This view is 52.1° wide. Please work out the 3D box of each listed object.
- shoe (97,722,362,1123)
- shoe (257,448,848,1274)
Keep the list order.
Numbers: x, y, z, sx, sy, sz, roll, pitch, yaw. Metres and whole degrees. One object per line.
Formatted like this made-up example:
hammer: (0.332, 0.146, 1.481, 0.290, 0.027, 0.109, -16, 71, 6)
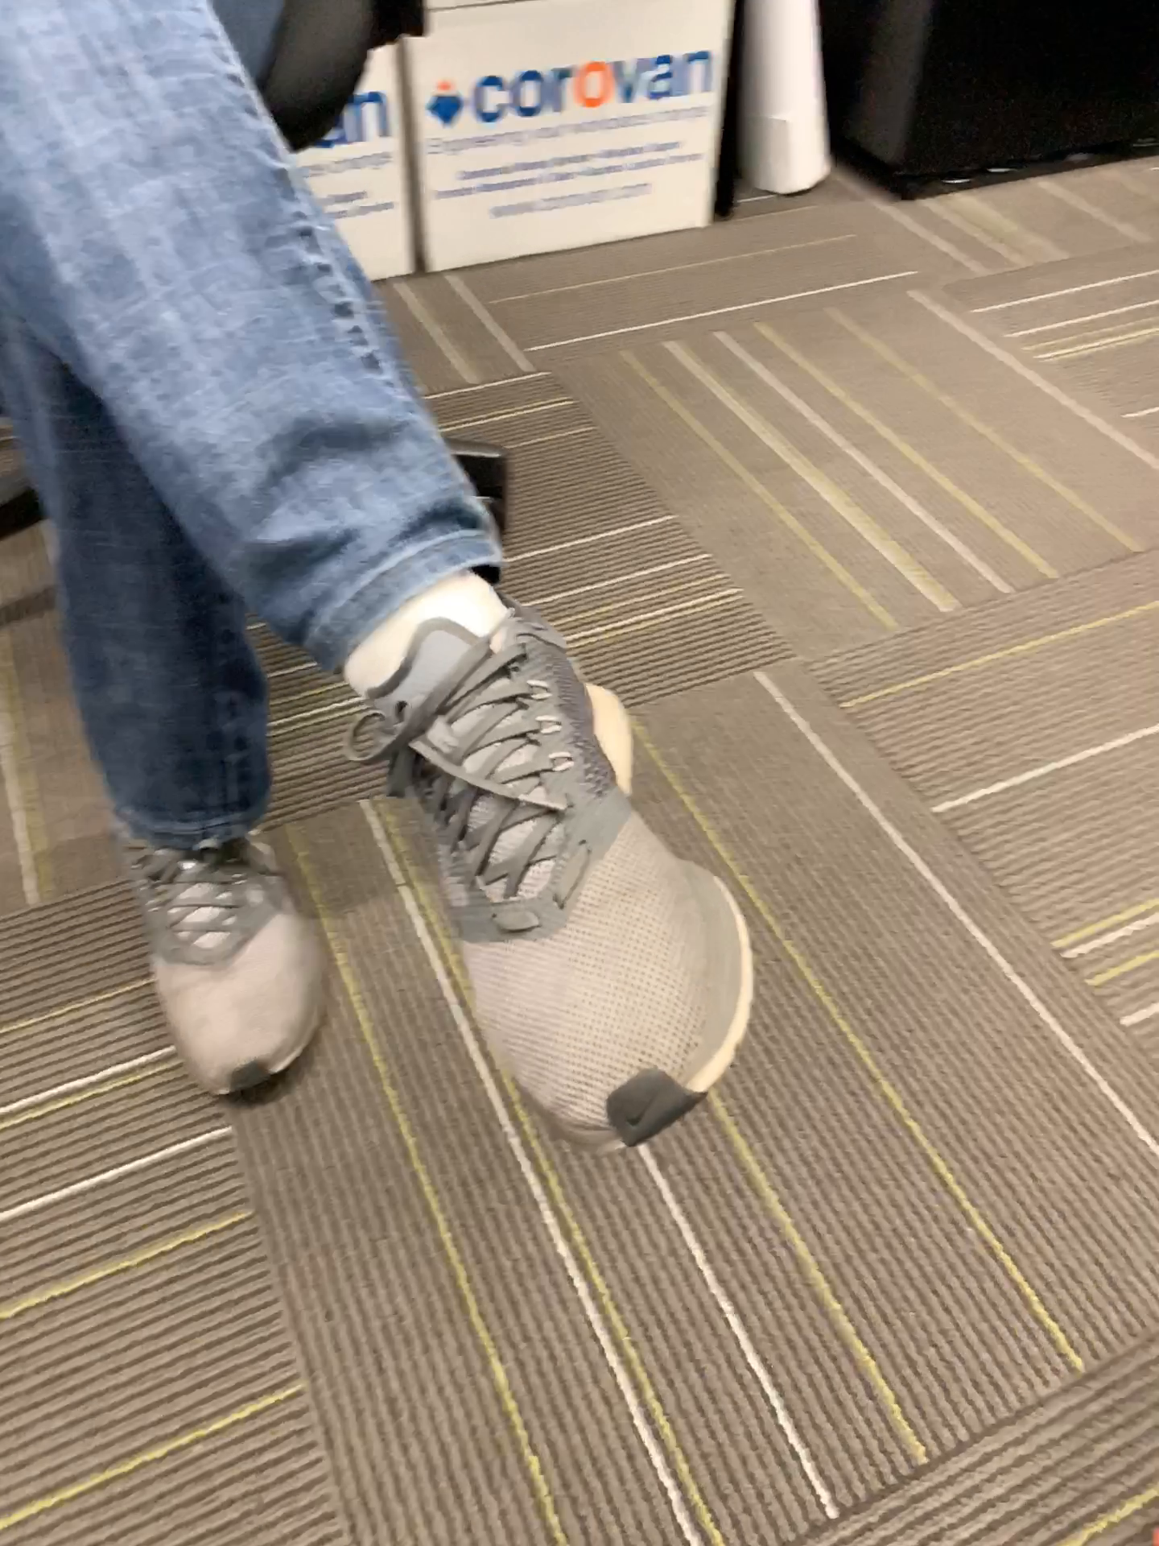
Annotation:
shoe: (-0.258, 0.096, 0.860, 0.120, 0.085, 0.270, -17, 49, -17)
shoe: (-0.030, 0.017, 0.482, 0.122, 0.142, 0.296, -39, 36, 18)
